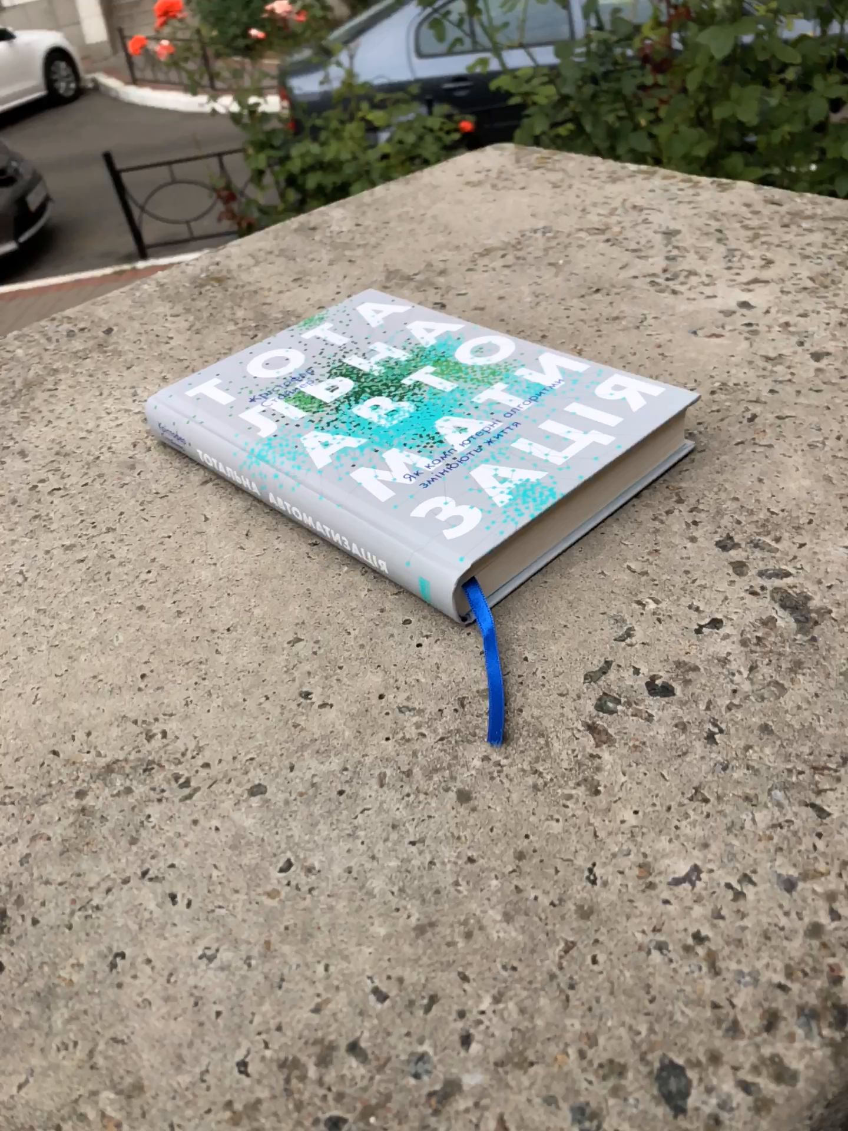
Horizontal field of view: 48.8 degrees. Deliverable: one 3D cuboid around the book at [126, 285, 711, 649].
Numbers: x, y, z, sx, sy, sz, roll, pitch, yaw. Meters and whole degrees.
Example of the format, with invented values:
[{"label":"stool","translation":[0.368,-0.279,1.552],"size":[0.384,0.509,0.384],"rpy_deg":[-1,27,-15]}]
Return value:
[{"label":"book","translation":[-0.010,-0.064,0.429],"size":[0.156,0.030,0.222],"rpy_deg":[-36,45,-29]}]
